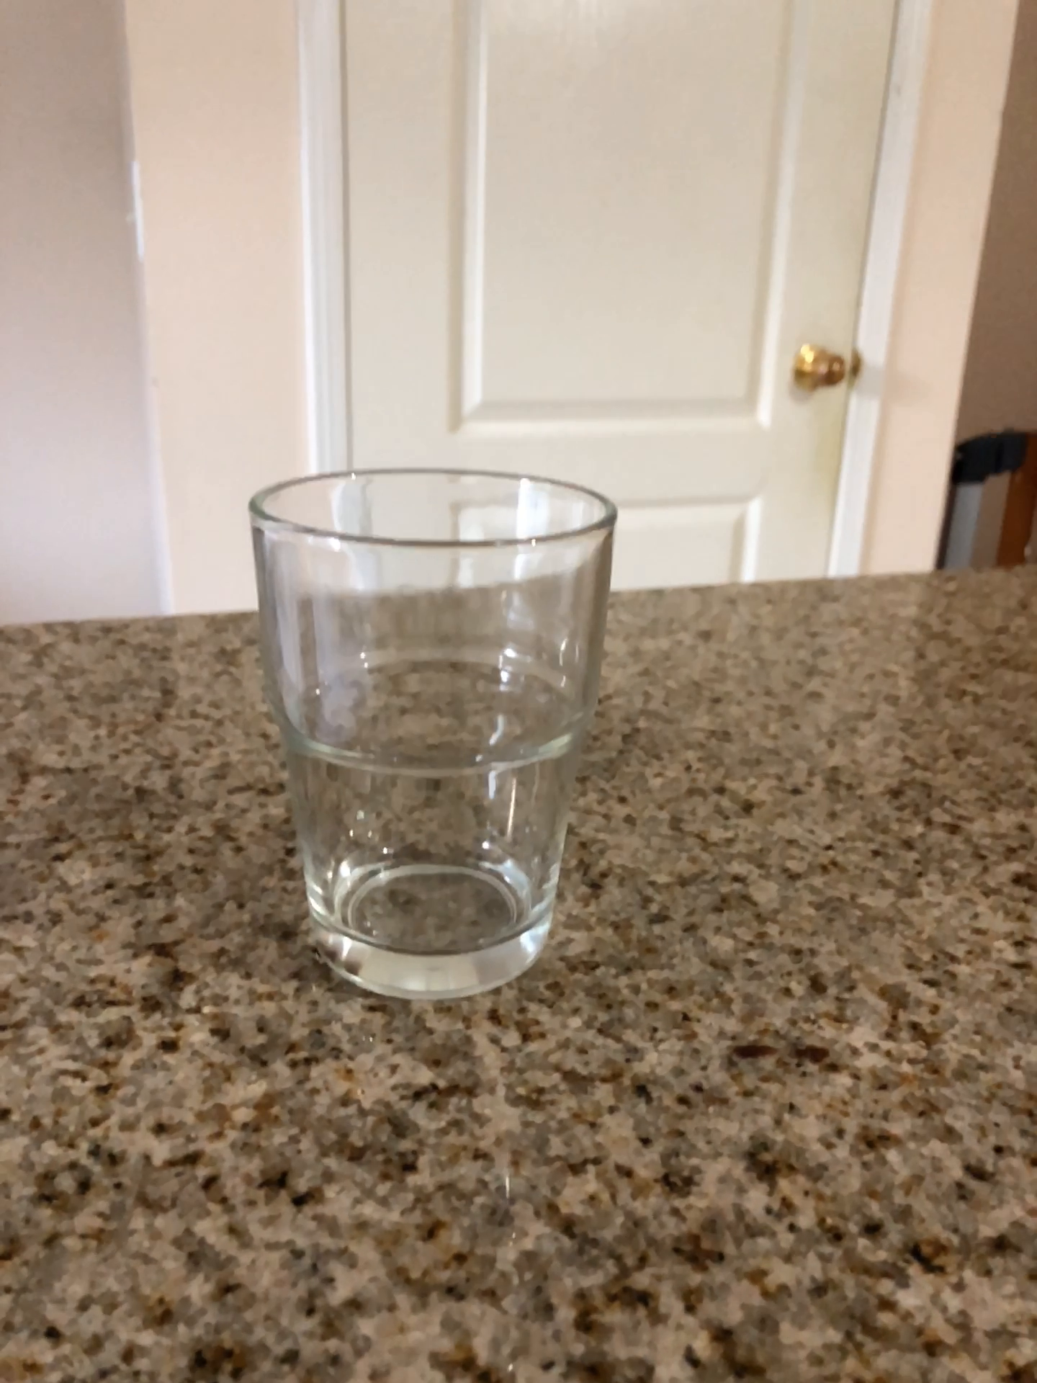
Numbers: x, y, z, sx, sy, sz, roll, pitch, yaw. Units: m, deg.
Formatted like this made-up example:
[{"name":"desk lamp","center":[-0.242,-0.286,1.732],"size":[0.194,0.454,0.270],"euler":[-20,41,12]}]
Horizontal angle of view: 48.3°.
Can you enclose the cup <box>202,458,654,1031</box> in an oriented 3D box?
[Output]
[{"name":"cup","center":[-0.018,0.005,0.261],"size":[0.070,0.100,0.070],"euler":[2,20,-1]}]
